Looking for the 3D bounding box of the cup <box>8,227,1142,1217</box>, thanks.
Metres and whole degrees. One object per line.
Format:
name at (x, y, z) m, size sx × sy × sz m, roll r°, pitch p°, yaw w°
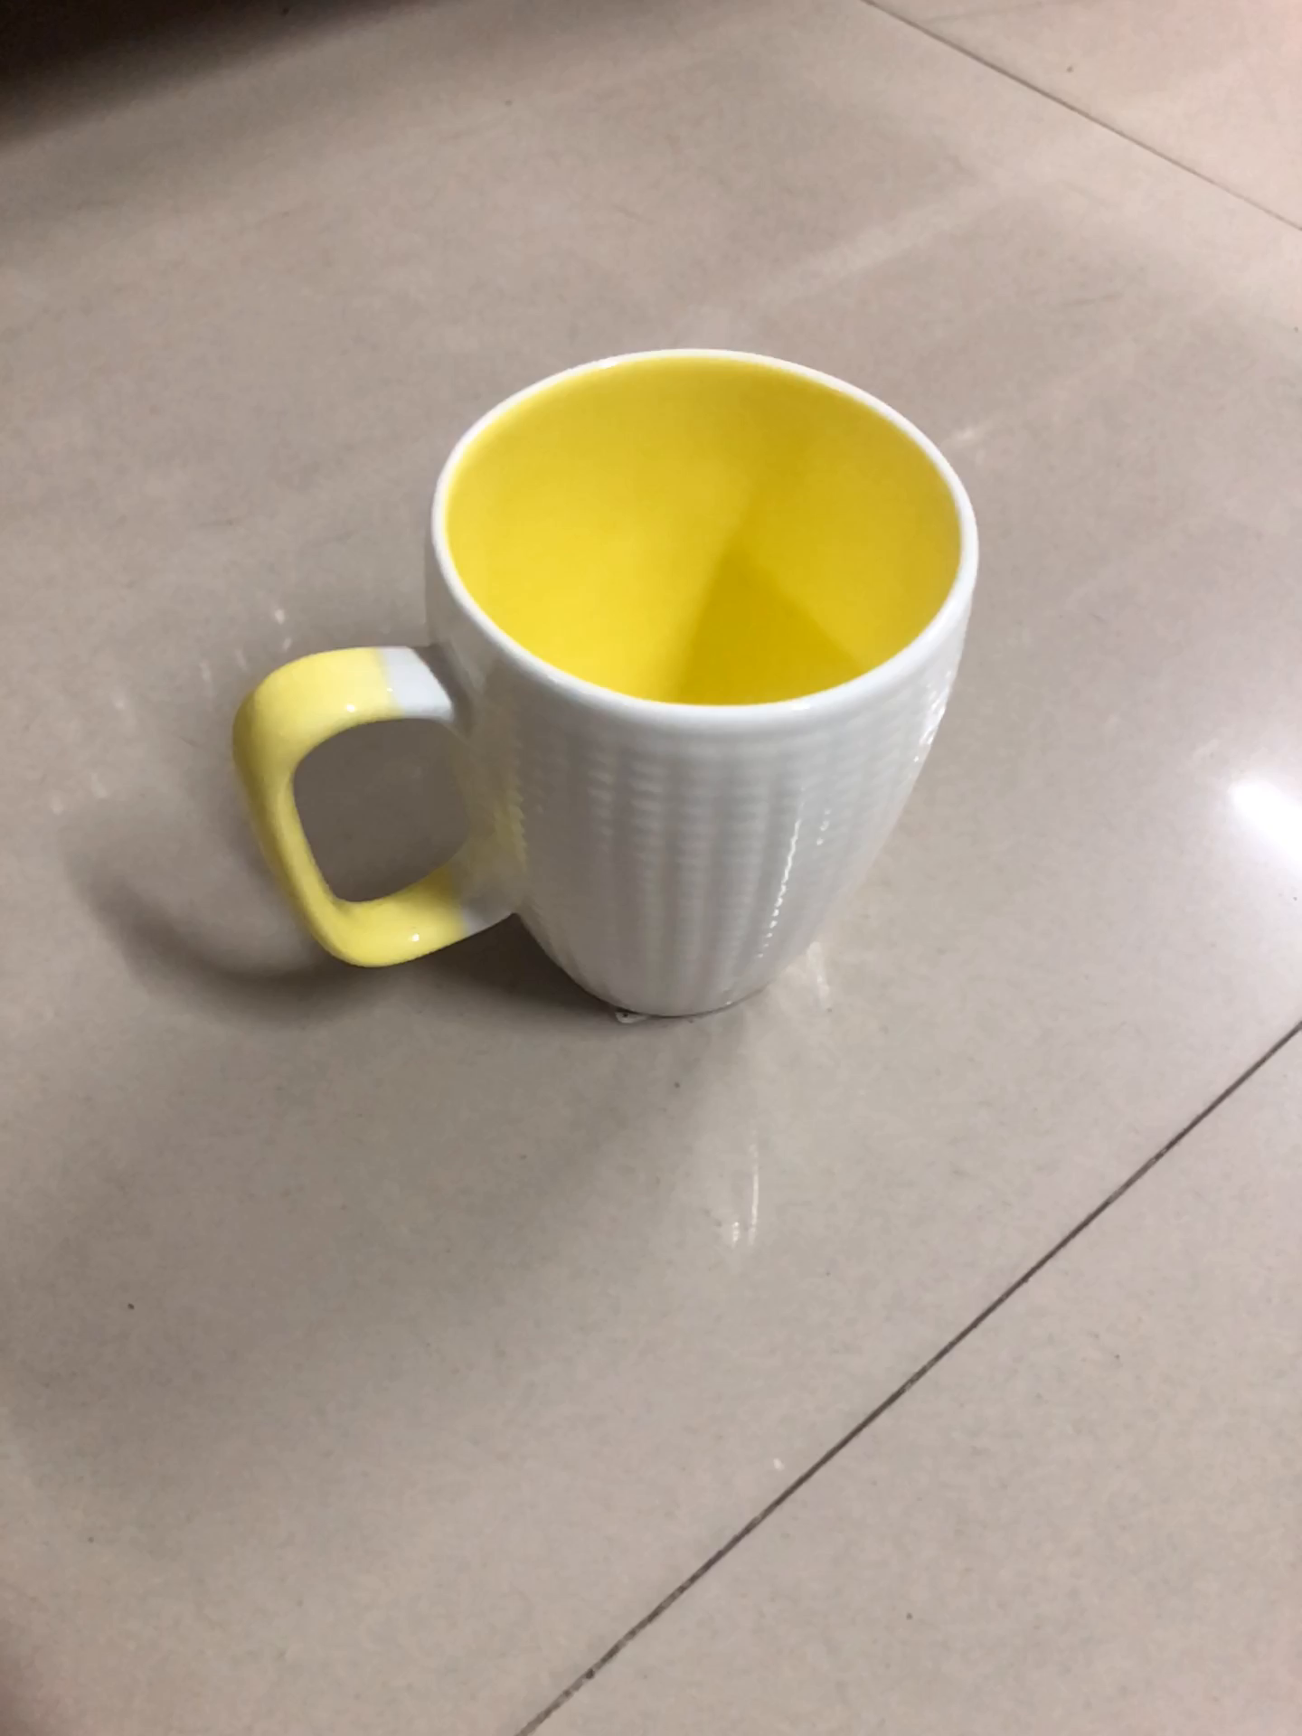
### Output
cup at (-0.012, -0.024, 0.215) m, size 0.120 × 0.080 × 0.080 m, roll -22°, pitch 57°, yaw -17°
